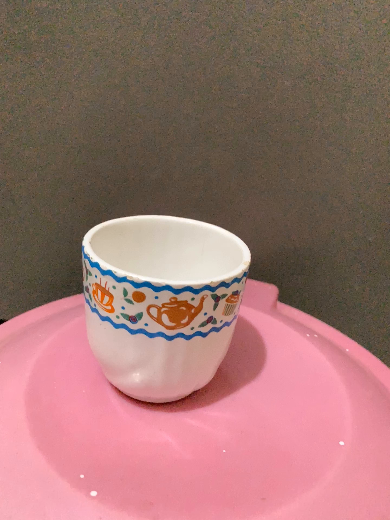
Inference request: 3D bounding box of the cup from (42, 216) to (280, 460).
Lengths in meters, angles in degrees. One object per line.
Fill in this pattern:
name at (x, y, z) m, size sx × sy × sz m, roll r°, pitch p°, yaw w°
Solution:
cup at (-0.014, 0.024, 0.180) m, size 0.070 × 0.060 × 0.070 m, roll 6°, pitch 22°, yaw -2°
